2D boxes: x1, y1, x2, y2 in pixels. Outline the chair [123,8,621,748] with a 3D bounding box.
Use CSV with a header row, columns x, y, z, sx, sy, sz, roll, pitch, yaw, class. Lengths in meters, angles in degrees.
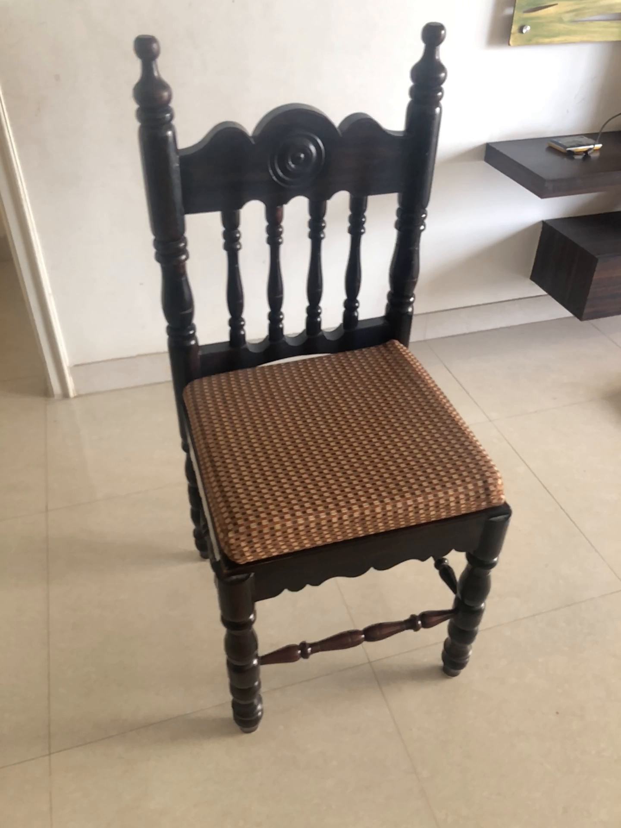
x,y,z,sx,sy,sz,roll,pitch,yaw,class
0.043,-0.037,1.140,0.500,1.022,0.564,-10,39,-13,chair
